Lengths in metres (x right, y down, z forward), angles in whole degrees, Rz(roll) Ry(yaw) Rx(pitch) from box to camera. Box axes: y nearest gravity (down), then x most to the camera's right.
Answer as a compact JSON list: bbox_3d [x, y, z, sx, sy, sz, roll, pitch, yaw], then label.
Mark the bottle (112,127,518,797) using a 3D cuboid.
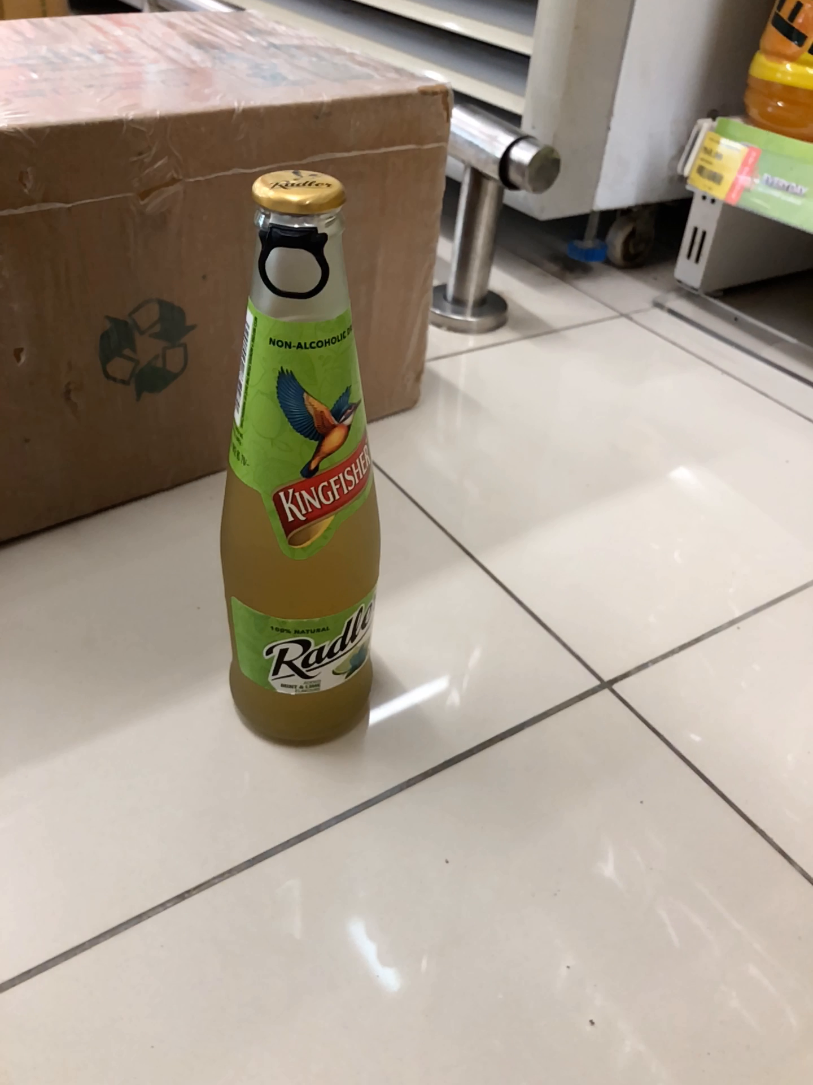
[{"bbox_3d":[-0.033,-0.022,0.307,0.080,0.199,0.080,3,38,-3],"label":"bottle"}]
